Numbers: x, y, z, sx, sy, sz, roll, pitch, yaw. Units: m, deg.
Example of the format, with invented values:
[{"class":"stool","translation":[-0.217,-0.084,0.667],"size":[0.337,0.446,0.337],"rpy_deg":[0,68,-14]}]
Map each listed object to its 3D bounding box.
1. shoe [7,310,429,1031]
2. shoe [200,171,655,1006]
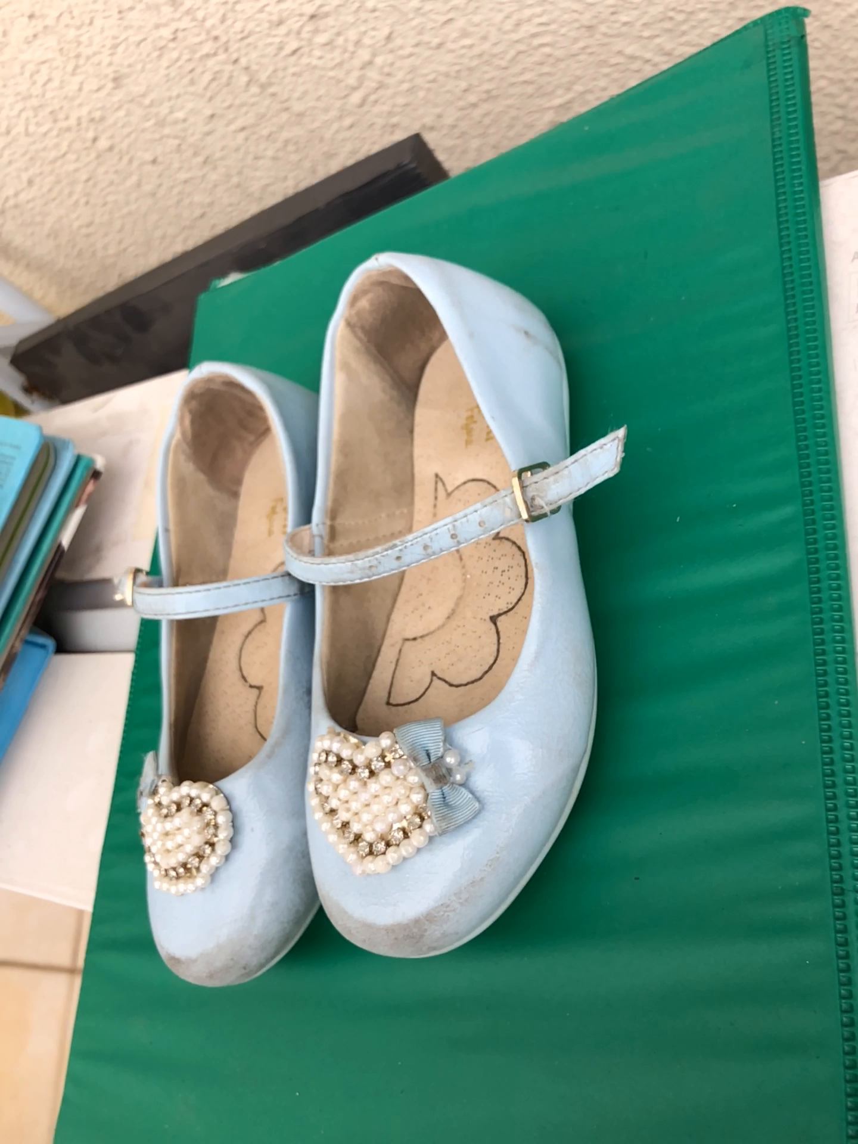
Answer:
[{"class":"shoe","translation":[-0.053,0.026,0.265],"size":[0.087,0.050,0.170],"rpy_deg":[-10,67,33]},{"class":"shoe","translation":[0.002,0.004,0.227],"size":[0.080,0.050,0.170],"rpy_deg":[-11,67,33]}]
